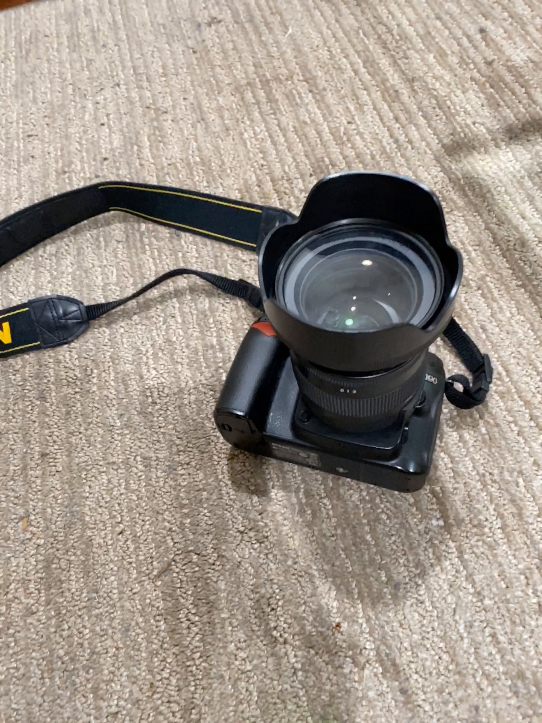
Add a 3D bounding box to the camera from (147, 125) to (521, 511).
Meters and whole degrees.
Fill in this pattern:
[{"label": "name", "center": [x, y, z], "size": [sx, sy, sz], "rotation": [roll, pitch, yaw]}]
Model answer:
[{"label": "camera", "center": [0.039, -0.016, 0.310], "size": [0.138, 0.165, 0.114], "rotation": [12, 59, 13]}]
